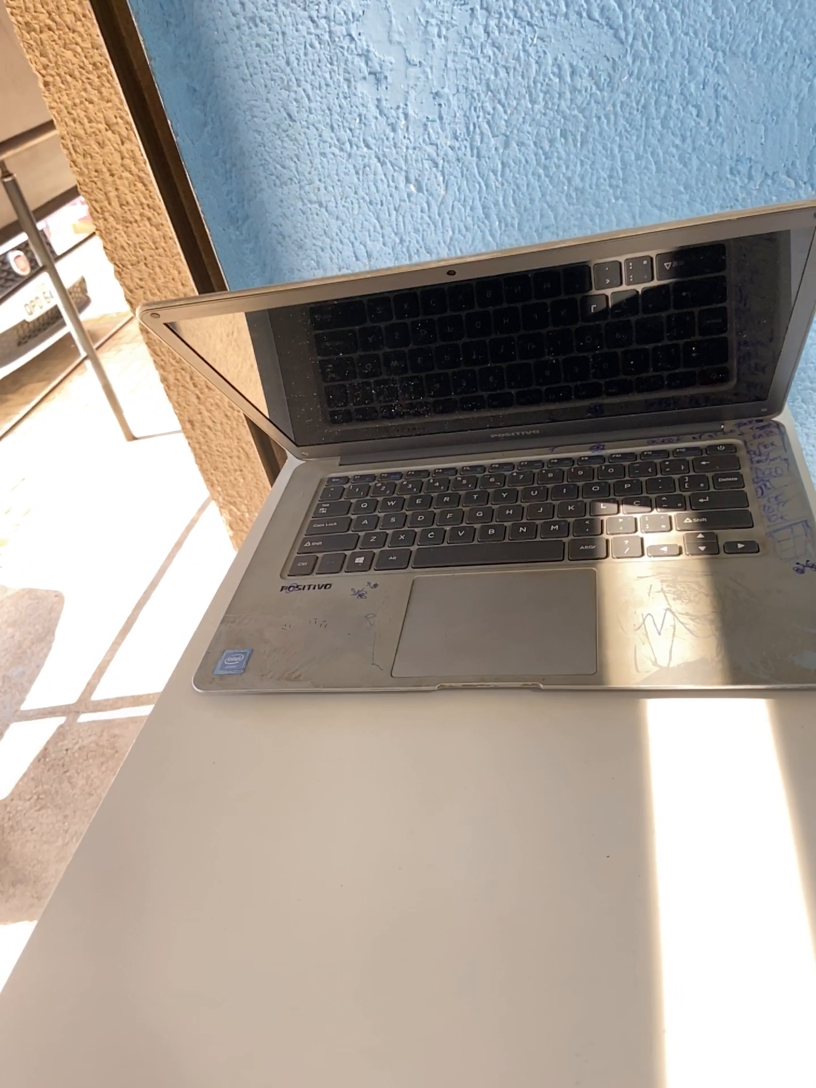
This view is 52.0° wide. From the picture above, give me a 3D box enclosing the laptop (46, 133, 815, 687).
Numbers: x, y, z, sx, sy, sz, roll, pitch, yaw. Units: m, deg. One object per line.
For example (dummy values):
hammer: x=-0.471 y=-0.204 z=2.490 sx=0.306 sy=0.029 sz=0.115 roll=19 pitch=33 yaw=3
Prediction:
laptop: x=0.039 y=-0.066 z=0.438 sx=0.326 sy=0.167 sz=0.213 roll=-3 pitch=38 yaw=16
